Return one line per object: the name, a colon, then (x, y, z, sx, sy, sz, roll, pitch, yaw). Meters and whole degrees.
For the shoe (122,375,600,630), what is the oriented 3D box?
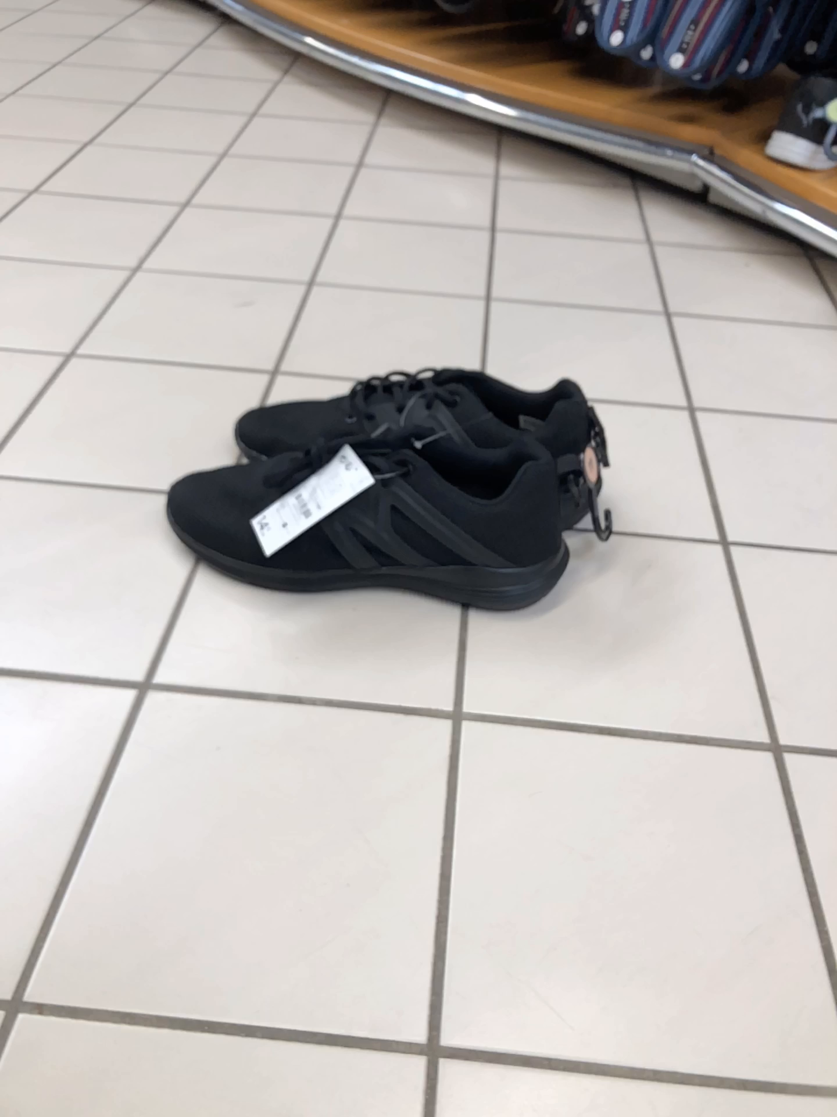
shoe: (-0.035, -0.042, 0.667, 0.310, 0.109, 0.101, 7, 41, 4)

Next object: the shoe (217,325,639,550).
shoe: (0.009, -0.099, 0.750, 0.310, 0.109, 0.101, 7, 41, 4)
